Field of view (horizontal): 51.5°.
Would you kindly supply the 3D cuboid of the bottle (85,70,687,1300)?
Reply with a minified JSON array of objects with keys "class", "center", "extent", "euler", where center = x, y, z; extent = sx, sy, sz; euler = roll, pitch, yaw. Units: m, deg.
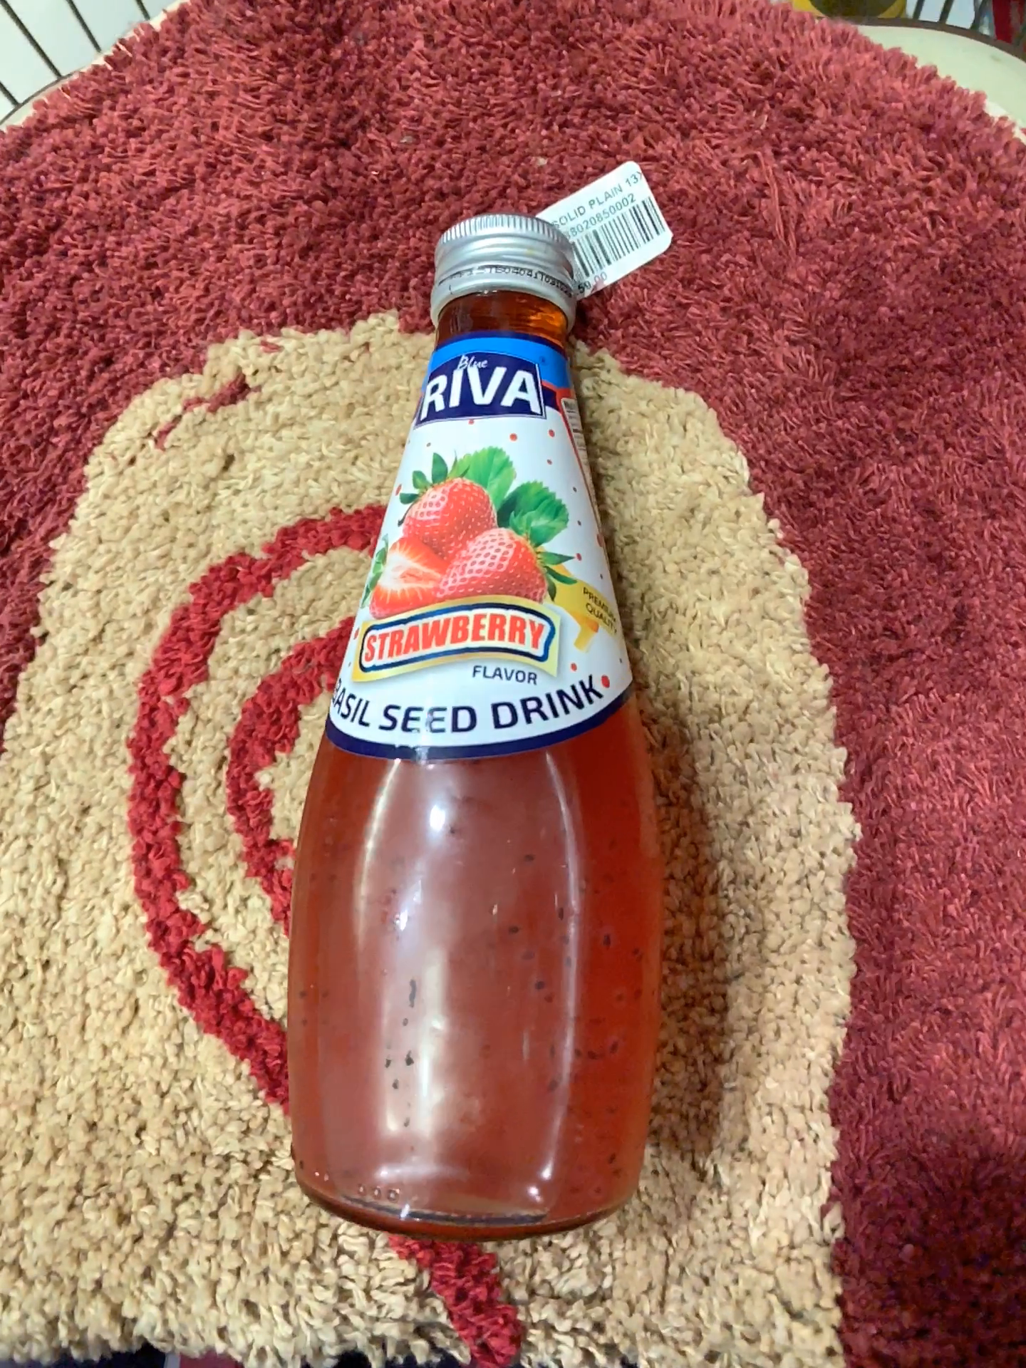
[{"class":"bottle","center":[-0.011,-0.004,0.166],"extent":[0.070,0.050,0.160],"euler":[2,80,9]}]
